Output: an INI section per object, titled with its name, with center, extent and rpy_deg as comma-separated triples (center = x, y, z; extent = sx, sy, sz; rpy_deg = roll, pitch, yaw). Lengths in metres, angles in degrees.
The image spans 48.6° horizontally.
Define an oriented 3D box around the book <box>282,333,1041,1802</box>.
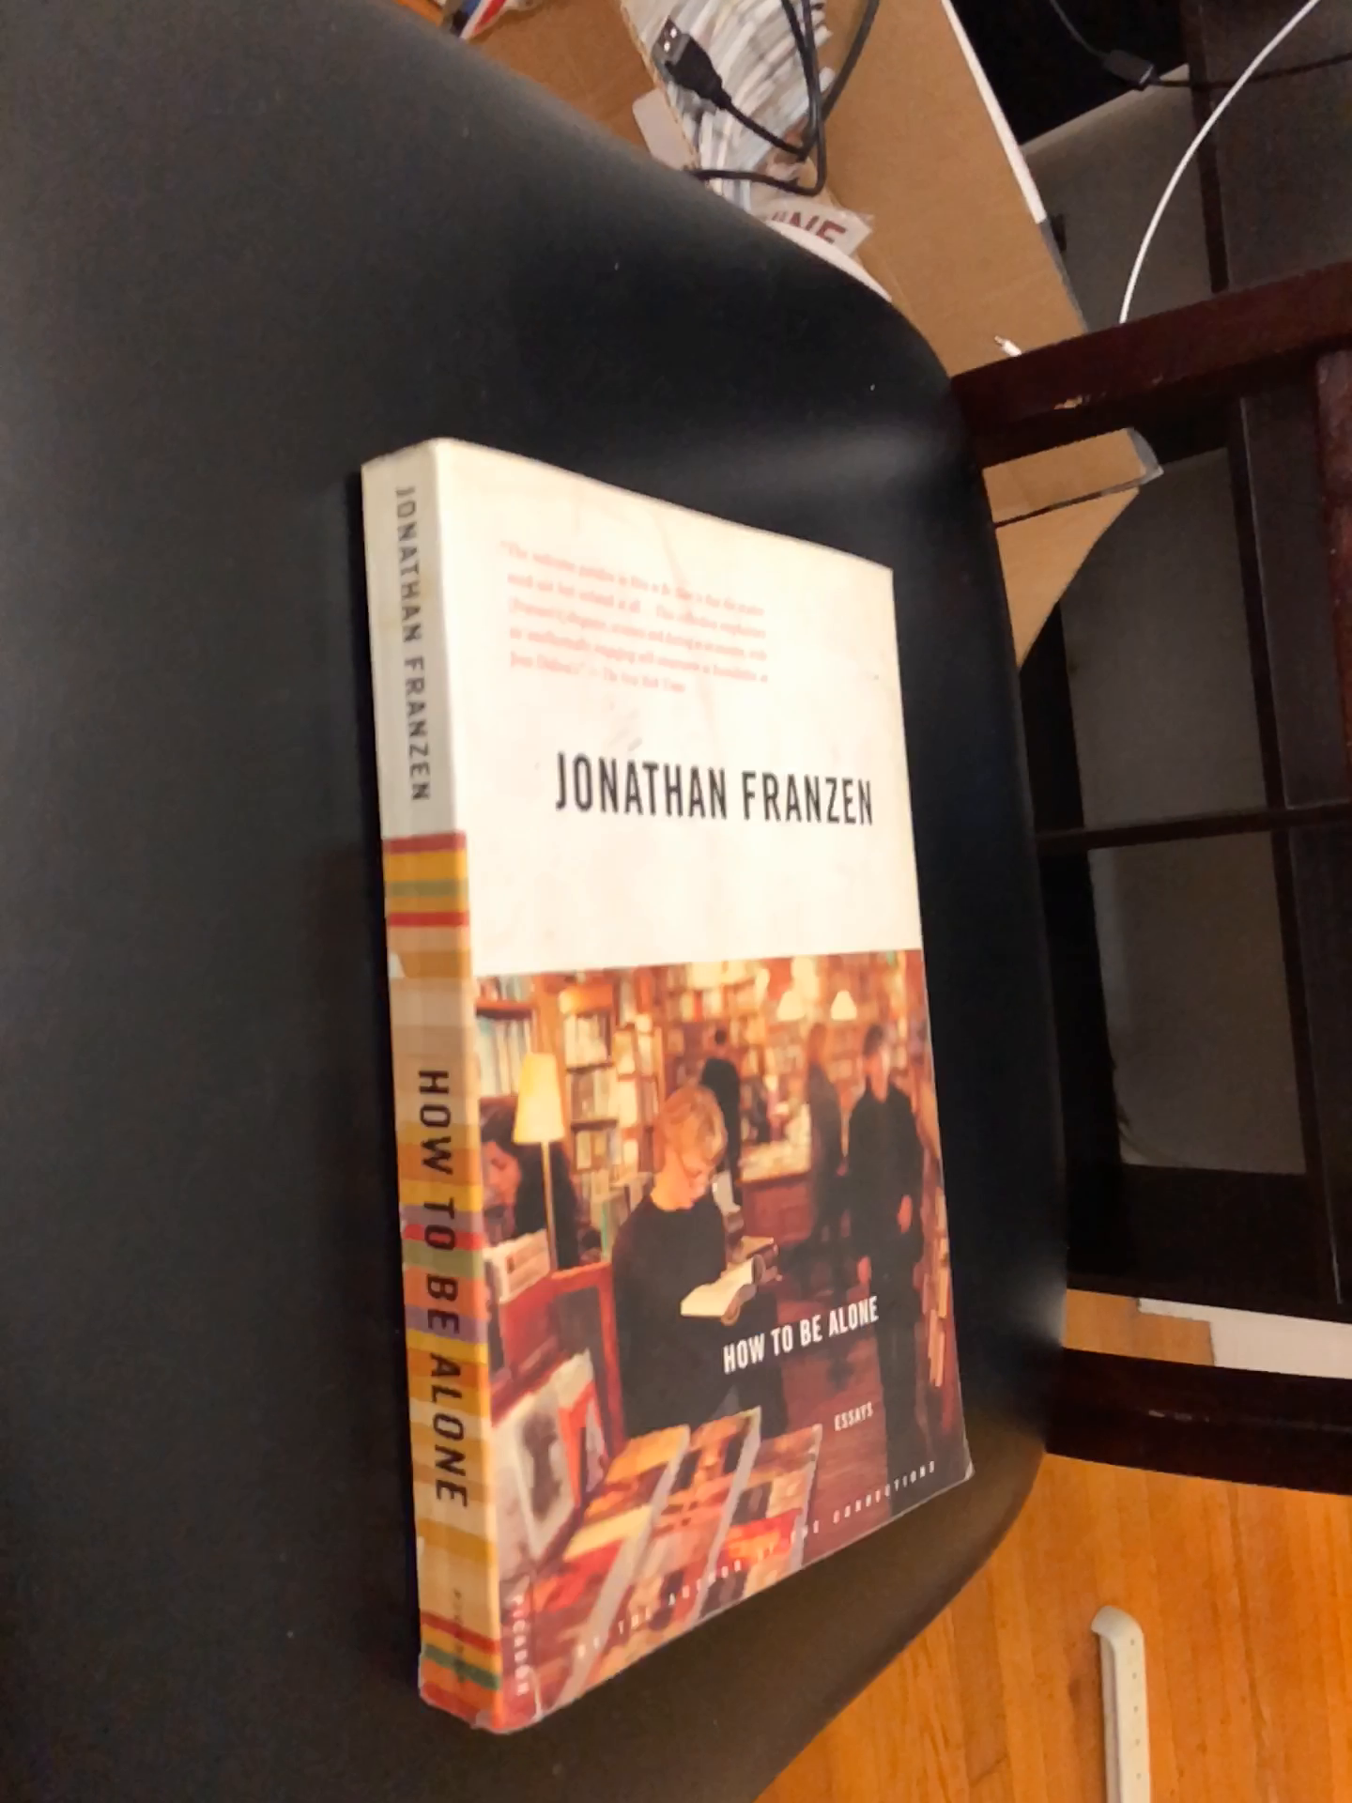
[book]
center = 0.007, 0.025, 0.305
extent = 0.161, 0.040, 0.230
rpy_deg = -1, 87, -45
